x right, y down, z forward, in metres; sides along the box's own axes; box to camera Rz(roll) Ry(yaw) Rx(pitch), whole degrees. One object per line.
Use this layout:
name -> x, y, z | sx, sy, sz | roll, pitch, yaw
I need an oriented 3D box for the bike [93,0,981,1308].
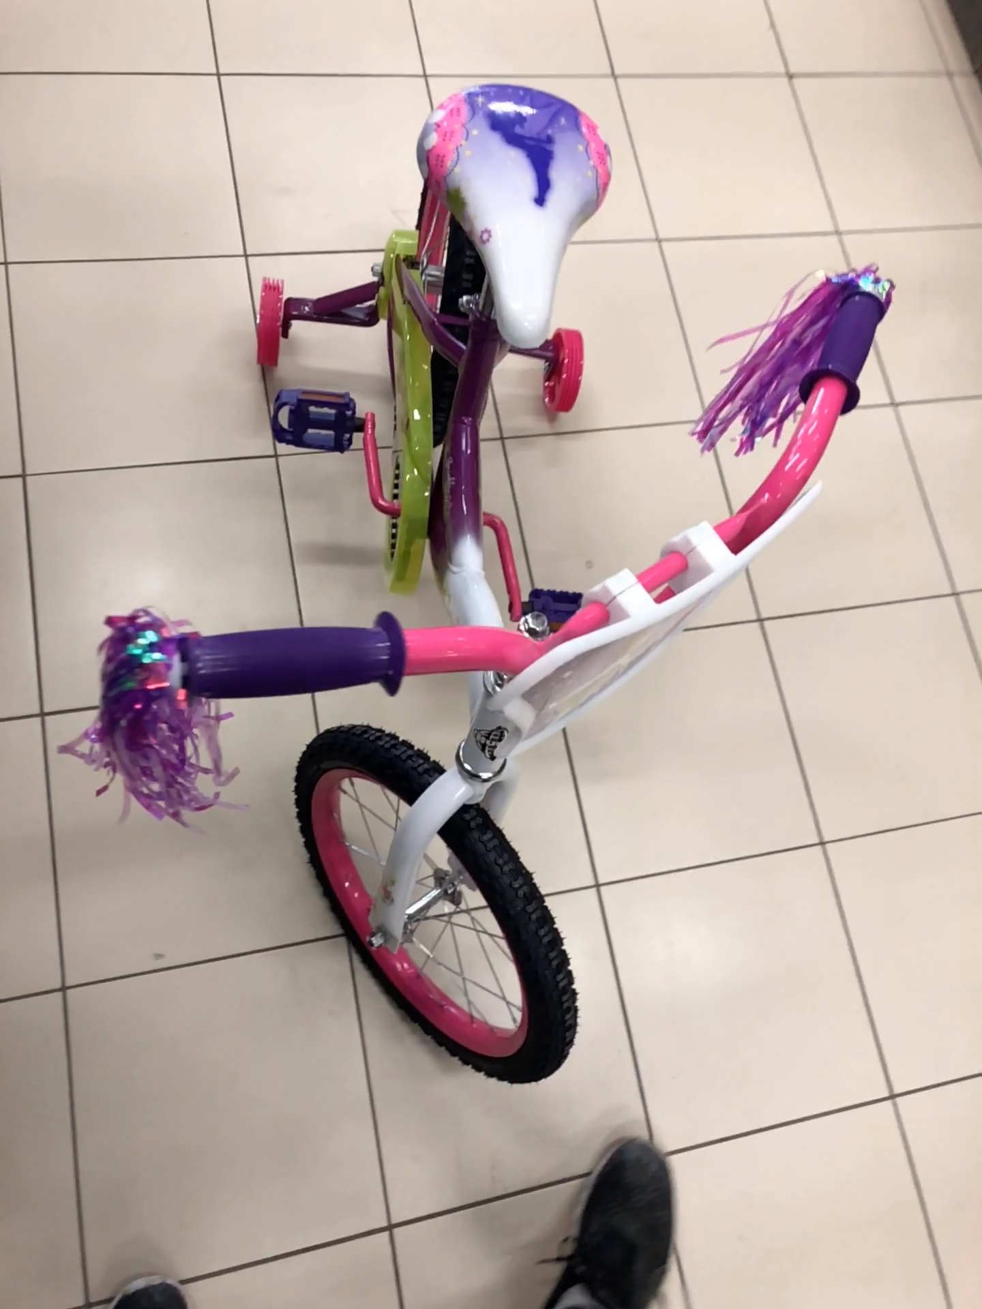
bike -> 0.022, -0.175, 0.949 | 0.595, 0.813, 1.067 | -2, 73, -13
